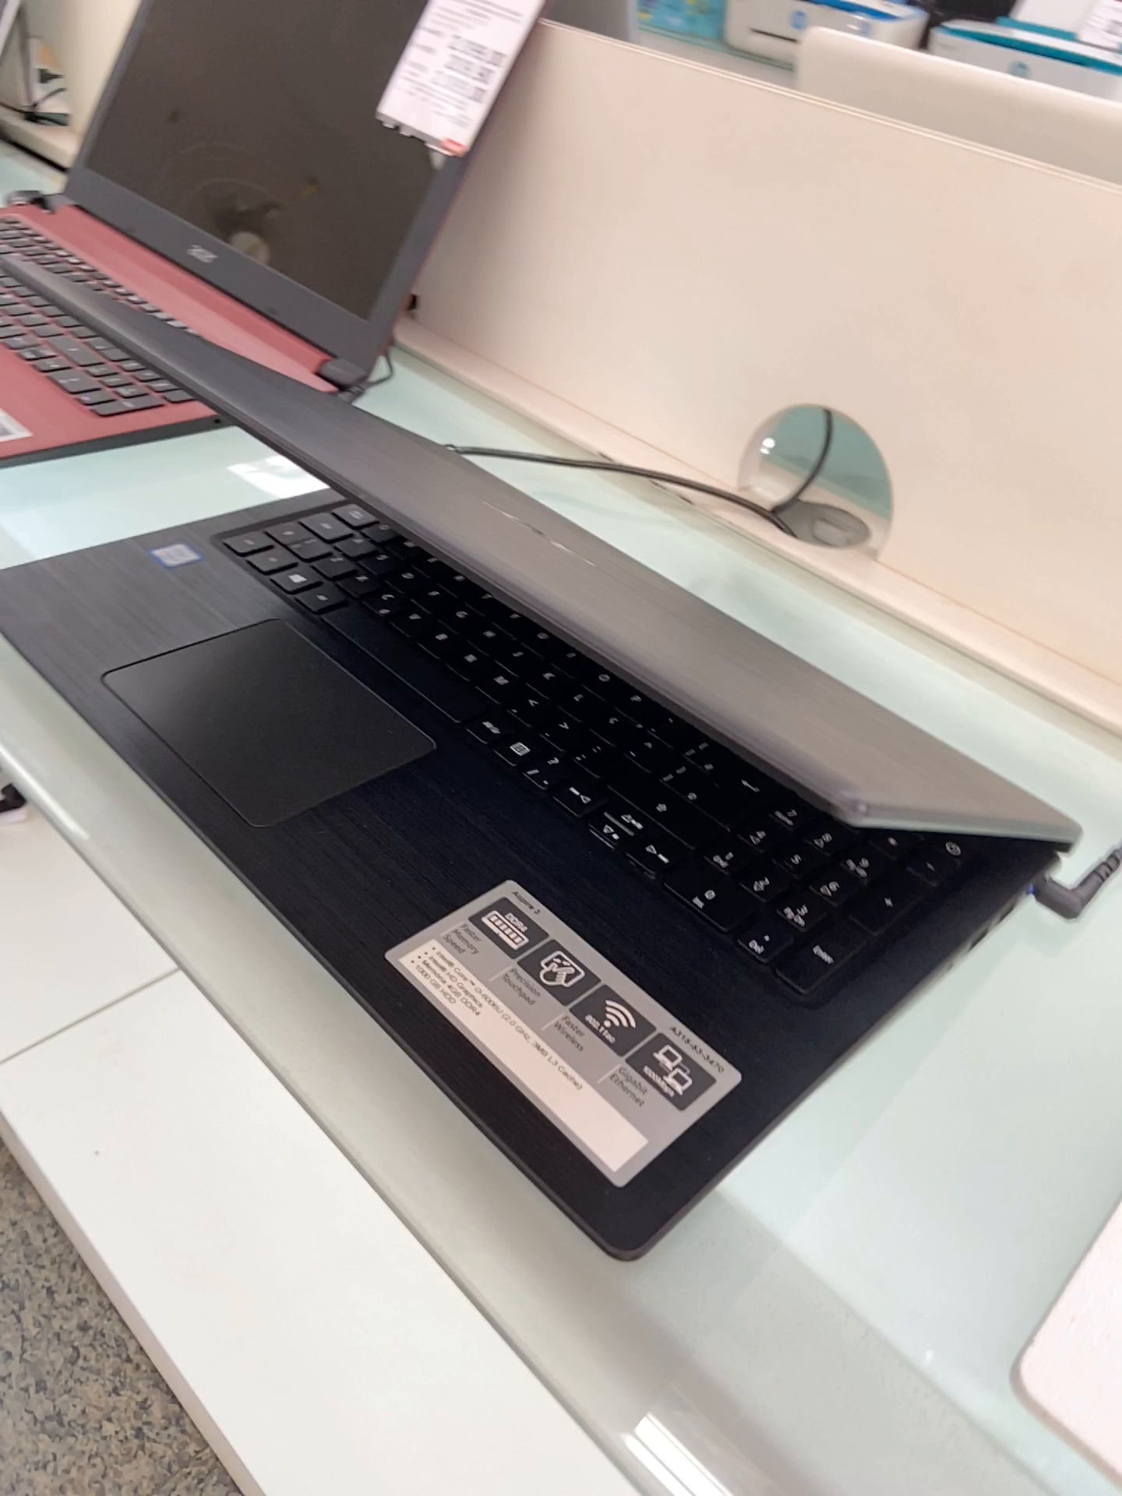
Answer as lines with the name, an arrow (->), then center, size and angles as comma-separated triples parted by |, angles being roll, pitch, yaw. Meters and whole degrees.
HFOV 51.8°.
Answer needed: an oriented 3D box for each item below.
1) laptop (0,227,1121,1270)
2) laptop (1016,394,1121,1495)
laptop -> -0.024, -0.061, 0.413 | 0.240, 0.123, 0.379 | -26, 49, -37
laptop -> 0.372, 0.113, 0.240 | 0.381, 0.165, 0.352 | 35, 45, 28
